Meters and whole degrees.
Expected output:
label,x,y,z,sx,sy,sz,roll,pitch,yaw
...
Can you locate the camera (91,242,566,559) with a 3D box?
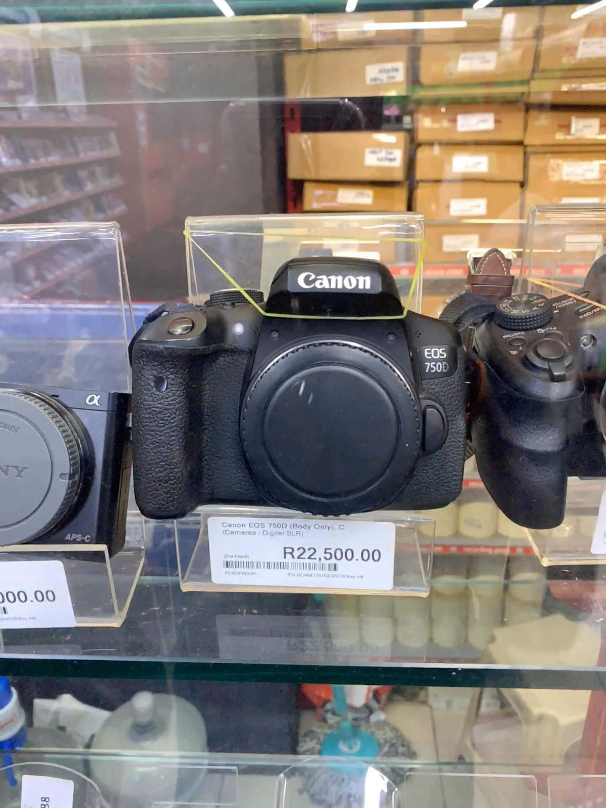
label,x,y,z,sx,sy,sz,roll,pitch,yaw
camera,0.006,-0.004,0.220,0.130,0.090,0.070,1,23,-2
